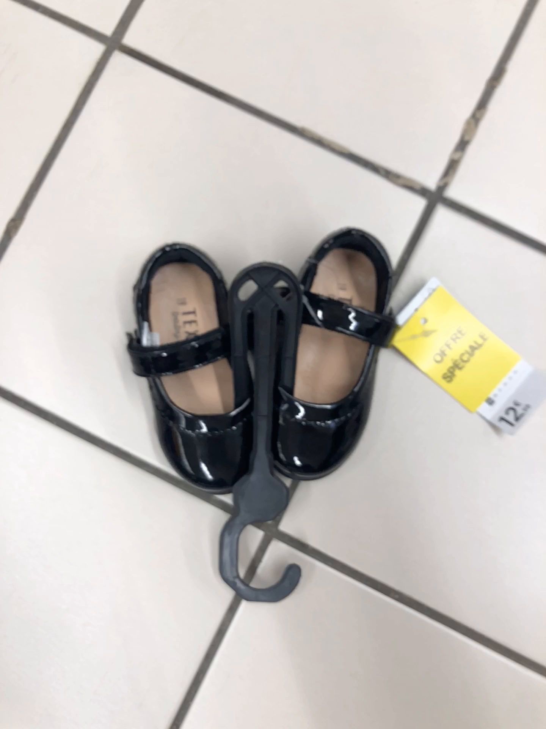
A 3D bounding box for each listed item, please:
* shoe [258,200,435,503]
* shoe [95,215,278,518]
[{"bbox_3d":[0.035,-0.005,0.300,0.059,0.048,0.130,10,85,2],"label":"shoe"},{"bbox_3d":[-0.039,0.002,0.297,0.059,0.048,0.127,-11,85,0],"label":"shoe"}]
